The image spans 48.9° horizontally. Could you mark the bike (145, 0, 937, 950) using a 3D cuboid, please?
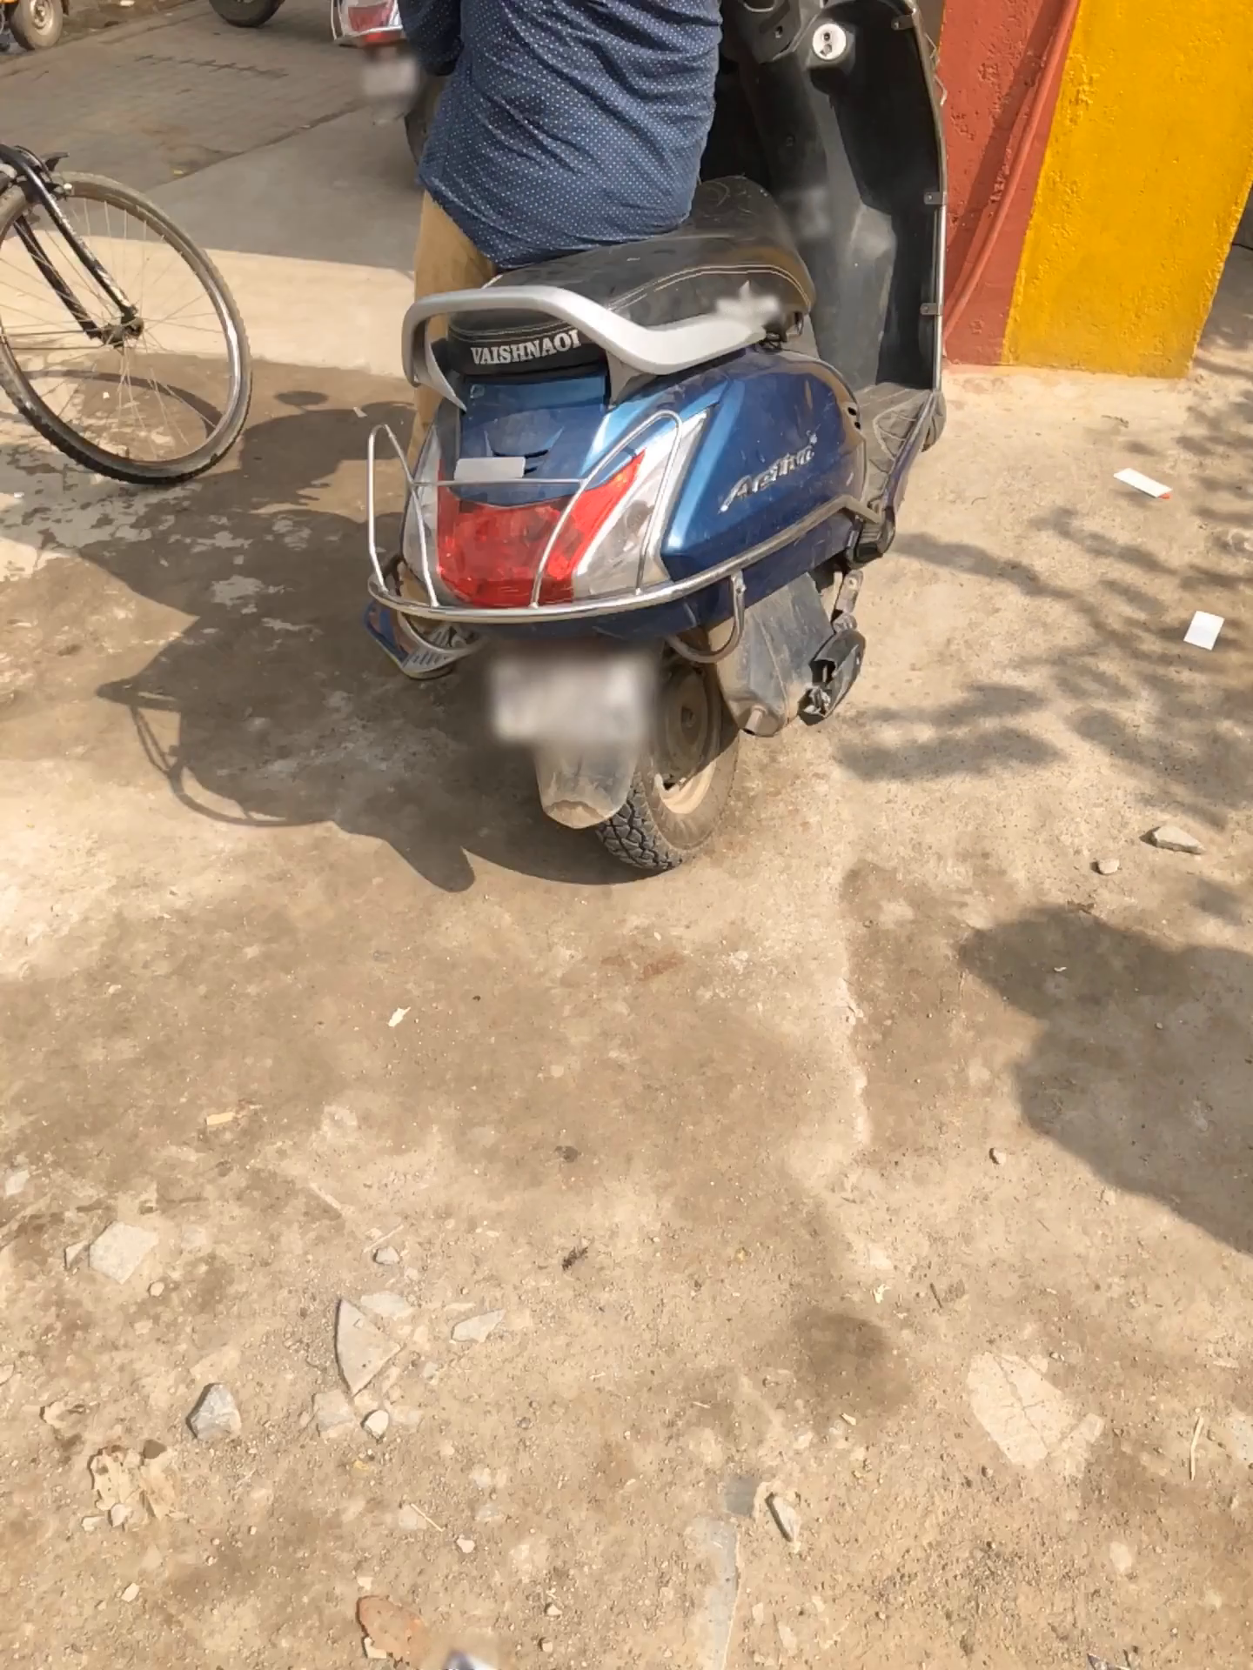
[{"bbox_3d":[0.019,-0.875,2.212,0.624,1.187,1.644,11,42,9],"label":"bike"}]
